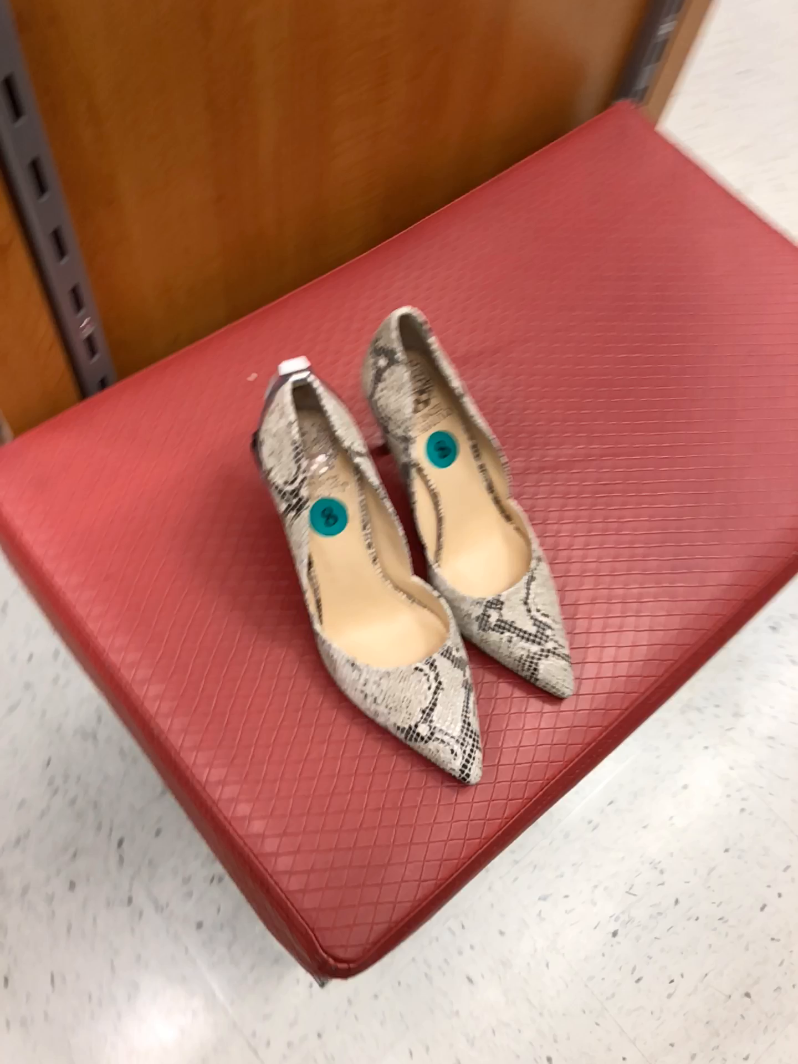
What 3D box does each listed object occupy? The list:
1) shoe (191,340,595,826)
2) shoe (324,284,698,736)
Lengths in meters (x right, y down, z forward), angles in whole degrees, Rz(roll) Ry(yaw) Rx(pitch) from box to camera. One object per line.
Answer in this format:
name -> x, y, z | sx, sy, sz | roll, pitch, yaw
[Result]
shoe -> -0.016, 0.029, 0.532 | 0.092, 0.112, 0.262 | -29, 71, -20
shoe -> 0.056, -0.017, 0.564 | 0.093, 0.102, 0.260 | -25, 69, -18
